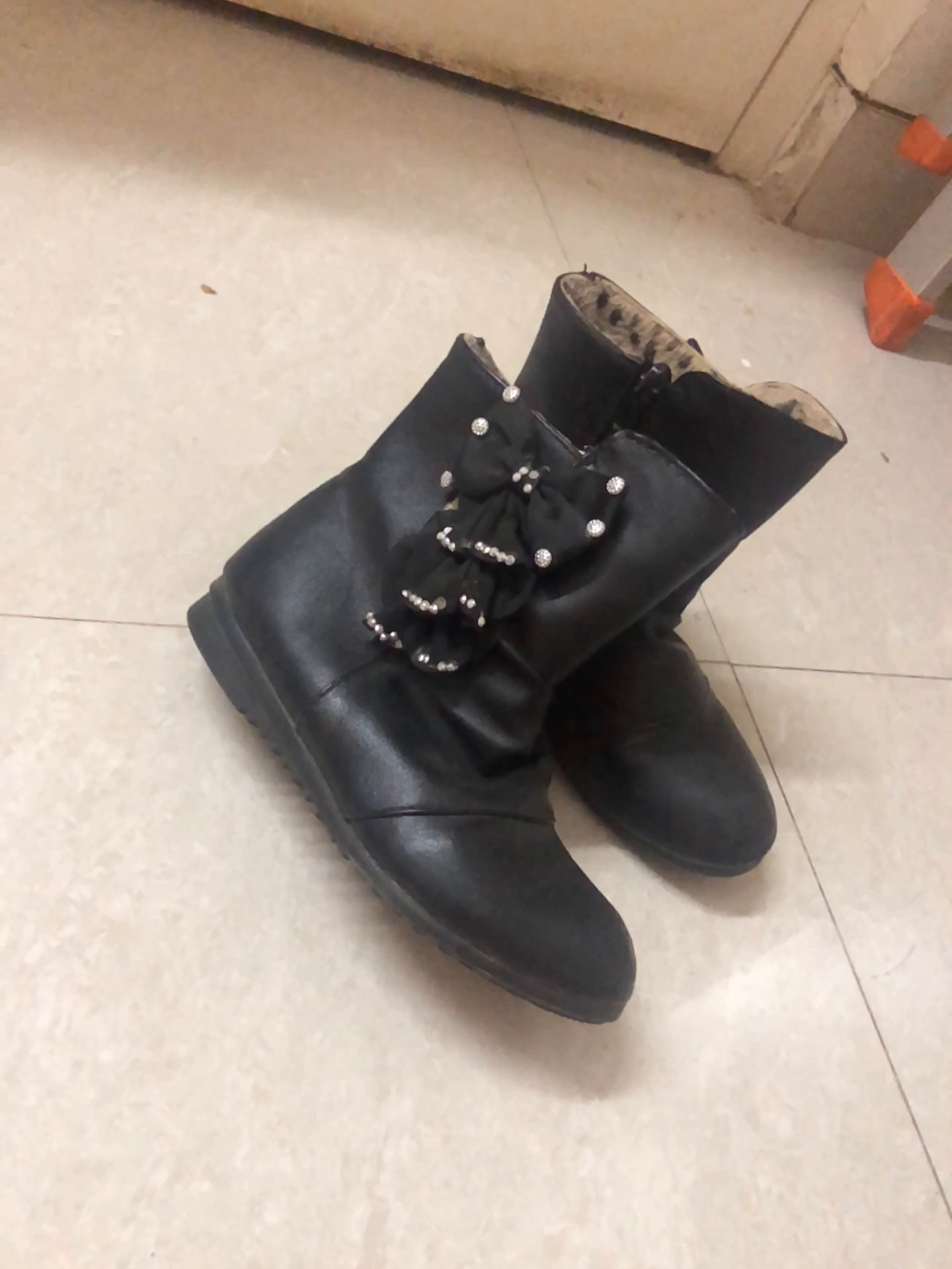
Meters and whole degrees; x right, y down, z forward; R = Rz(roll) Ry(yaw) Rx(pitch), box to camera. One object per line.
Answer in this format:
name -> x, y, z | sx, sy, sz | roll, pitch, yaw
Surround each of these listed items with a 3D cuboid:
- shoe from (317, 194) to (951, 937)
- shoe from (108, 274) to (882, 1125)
shoe -> 0.059, -0.029, 0.388 | 0.090, 0.139, 0.220 | -26, 69, -40
shoe -> 0.005, 0.016, 0.344 | 0.200, 0.140, 0.090 | 51, 13, 18
